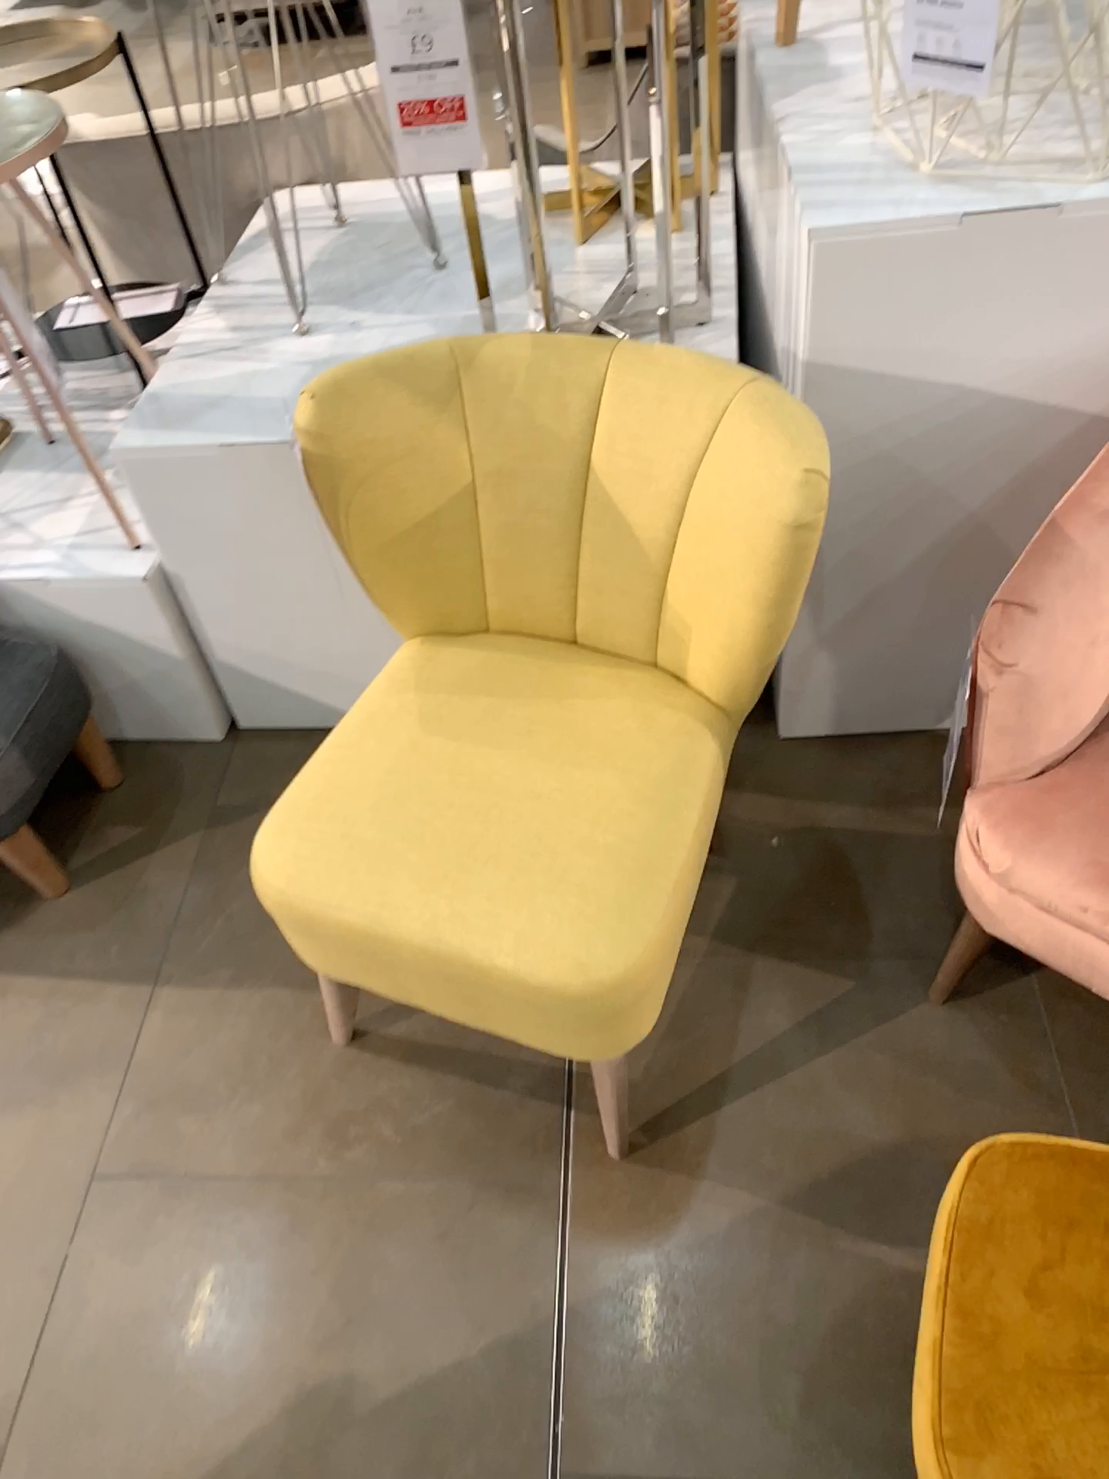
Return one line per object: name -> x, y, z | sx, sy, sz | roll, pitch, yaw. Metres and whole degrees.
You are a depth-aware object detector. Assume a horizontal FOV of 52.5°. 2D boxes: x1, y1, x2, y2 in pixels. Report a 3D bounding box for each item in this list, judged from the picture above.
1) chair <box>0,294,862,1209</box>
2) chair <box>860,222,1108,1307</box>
chair -> -0.062, -0.002, 1.272 | 0.608, 0.696, 0.590 | 16, 51, 23
chair -> 0.770, 0.015, 1.173 | 0.619, 0.765, 0.588 | 26, 56, 30
